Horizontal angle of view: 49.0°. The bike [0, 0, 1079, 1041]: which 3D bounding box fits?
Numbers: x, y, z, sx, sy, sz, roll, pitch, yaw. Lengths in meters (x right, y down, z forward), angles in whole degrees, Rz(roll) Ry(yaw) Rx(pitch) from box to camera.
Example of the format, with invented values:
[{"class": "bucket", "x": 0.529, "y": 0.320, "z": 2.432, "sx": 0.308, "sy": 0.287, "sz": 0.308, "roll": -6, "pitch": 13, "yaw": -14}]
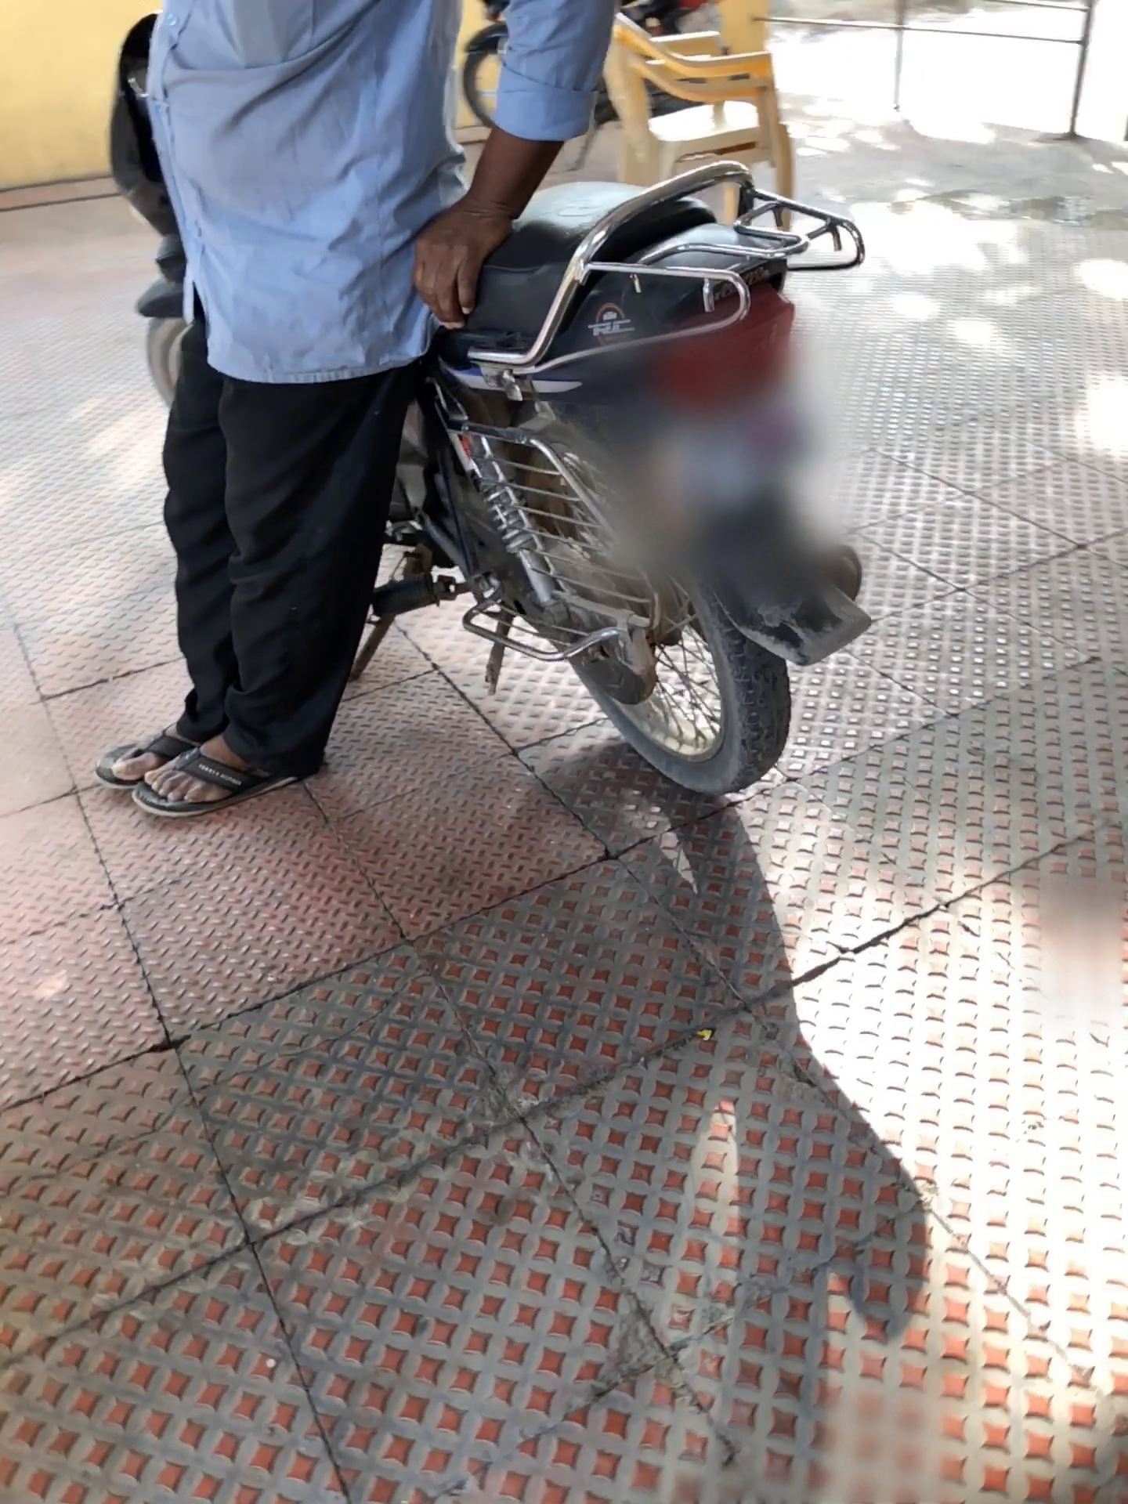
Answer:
[{"class": "bike", "x": -0.203, "y": -0.578, "z": 1.696, "sx": 0.820, "sy": 1.063, "sz": 1.302, "roll": -24, "pitch": 42, "yaw": -26}]
